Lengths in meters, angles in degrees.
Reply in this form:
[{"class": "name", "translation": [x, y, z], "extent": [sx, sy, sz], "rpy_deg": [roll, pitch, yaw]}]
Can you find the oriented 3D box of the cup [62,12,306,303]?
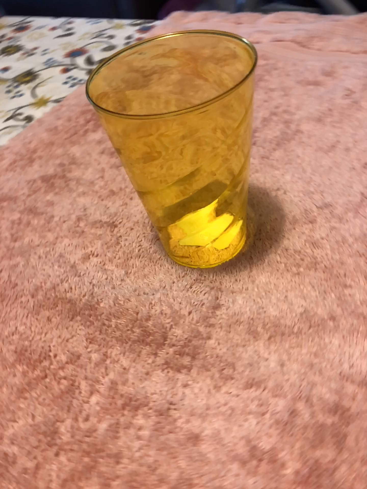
[{"class": "cup", "translation": [0.008, -0.047, 0.232], "extent": [0.080, 0.119, 0.080], "rpy_deg": [-5, 49, 6]}]
